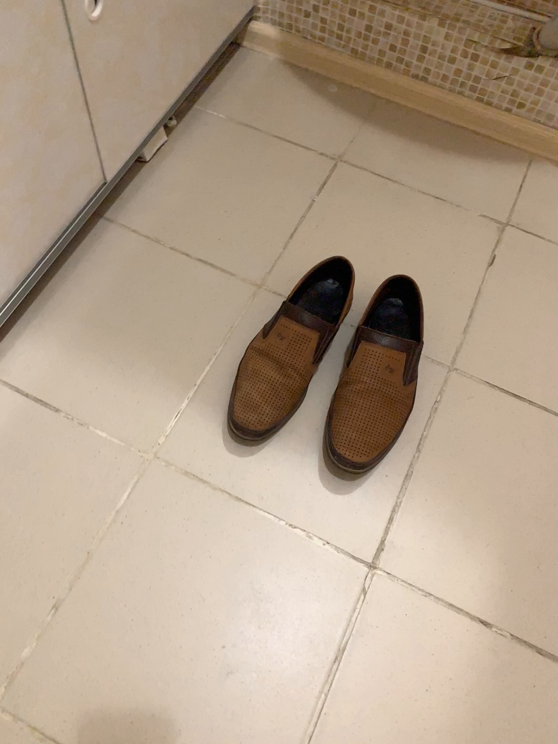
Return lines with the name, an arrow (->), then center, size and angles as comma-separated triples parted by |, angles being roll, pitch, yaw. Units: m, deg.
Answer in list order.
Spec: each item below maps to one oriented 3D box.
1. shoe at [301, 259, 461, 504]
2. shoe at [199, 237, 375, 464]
shoe -> 0.134, 0.005, 0.737 | 0.110, 0.090, 0.290 | 21, 63, 7
shoe -> 0.015, -0.034, 0.731 | 0.110, 0.080, 0.270 | 25, 63, 9
